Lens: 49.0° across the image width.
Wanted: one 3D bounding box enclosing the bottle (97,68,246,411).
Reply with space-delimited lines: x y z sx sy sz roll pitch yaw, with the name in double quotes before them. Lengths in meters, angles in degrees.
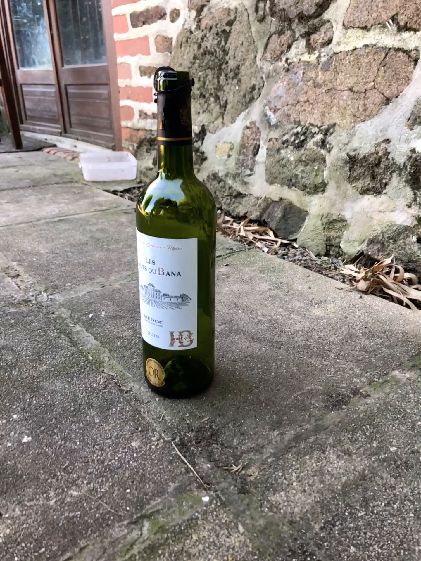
"bottle" -0.030 -0.036 0.428 0.090 0.289 0.080 16 28 36
